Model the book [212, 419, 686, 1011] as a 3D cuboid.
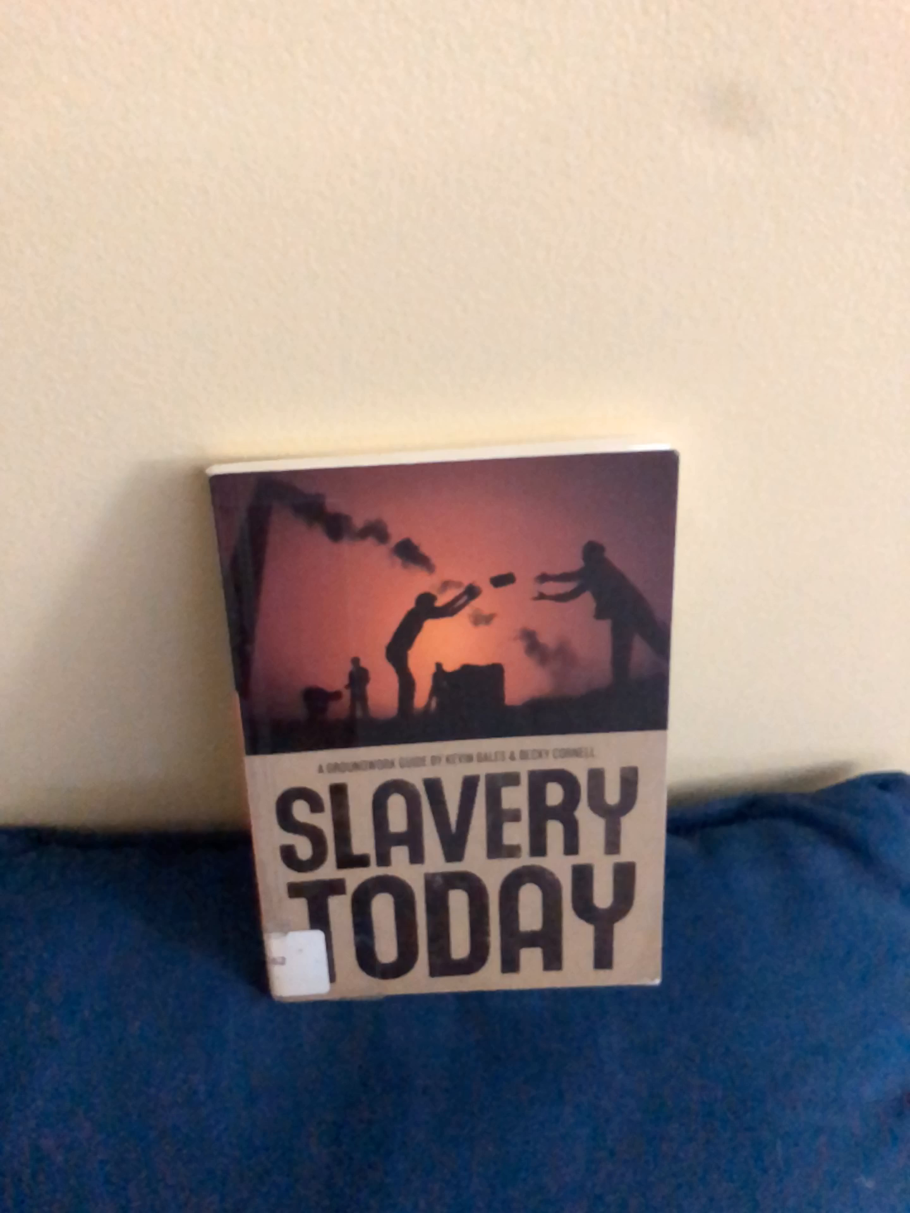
[{"bbox_3d":[0.001,0.038,0.316,0.127,0.182,0.028,-2,19,-2],"label":"book"}]
